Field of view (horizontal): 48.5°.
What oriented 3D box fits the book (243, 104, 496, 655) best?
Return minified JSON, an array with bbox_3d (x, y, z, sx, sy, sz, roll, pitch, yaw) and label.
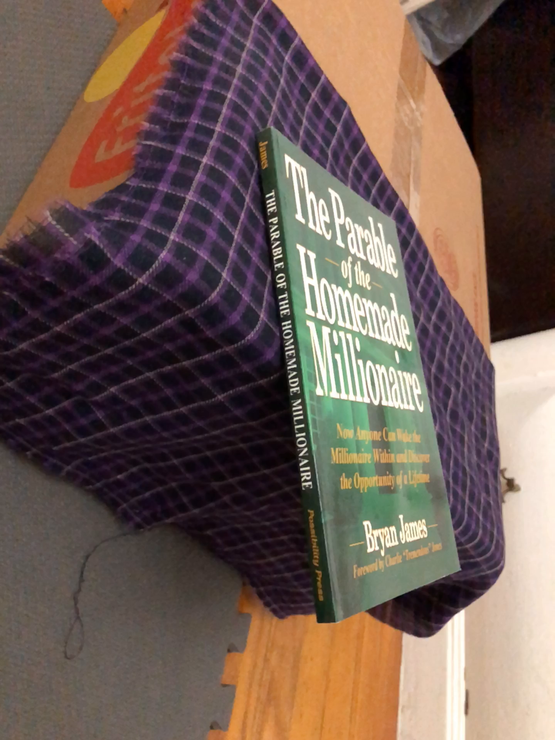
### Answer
[{"bbox_3d":[0.052,0.004,0.299,0.161,0.020,0.210,11,68,-54],"label":"book"}]
